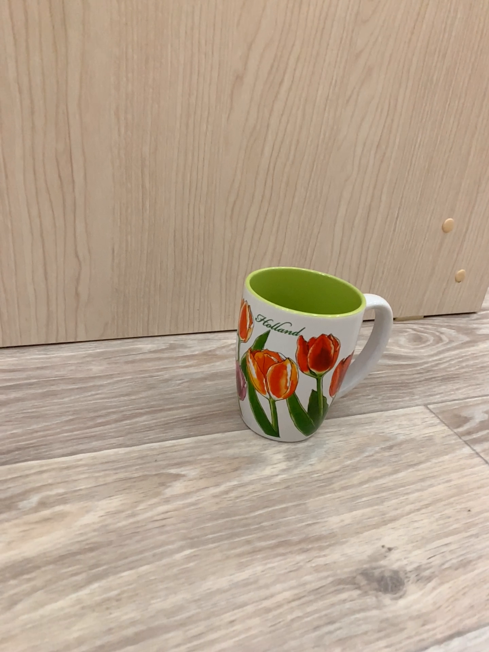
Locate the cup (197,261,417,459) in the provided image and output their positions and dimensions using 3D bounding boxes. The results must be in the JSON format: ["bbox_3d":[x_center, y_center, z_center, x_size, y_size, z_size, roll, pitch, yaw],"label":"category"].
[{"bbox_3d":[0.041,0.017,0.371,0.118,0.101,0.084,-7,30,-29],"label":"cup"}]
